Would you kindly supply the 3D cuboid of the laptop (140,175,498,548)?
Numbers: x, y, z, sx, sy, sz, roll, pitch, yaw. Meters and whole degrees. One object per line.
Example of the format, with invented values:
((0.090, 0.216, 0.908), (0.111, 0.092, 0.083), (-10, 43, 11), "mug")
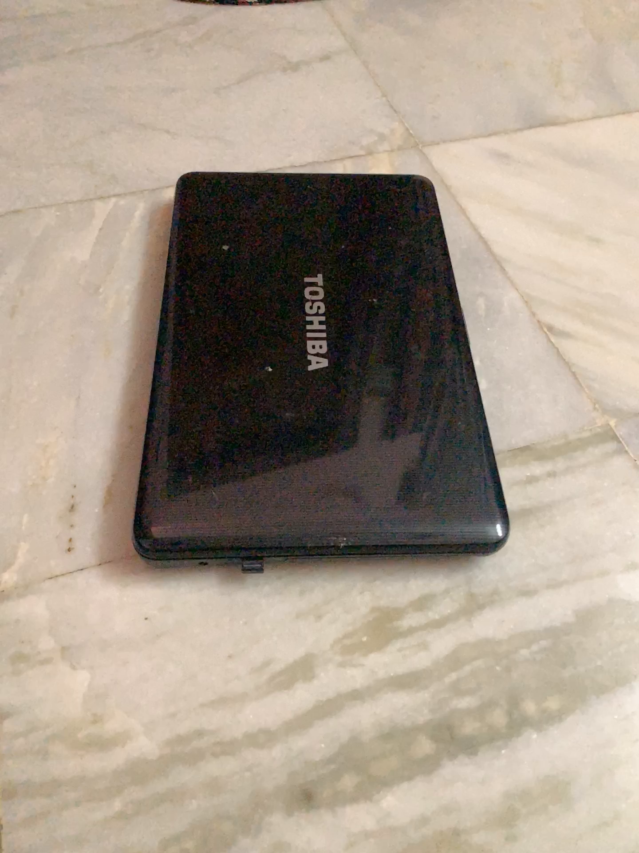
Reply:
((-0.006, -0.077, 0.501), (0.222, 0.003, 0.356), (0, 57, -5), "laptop")
